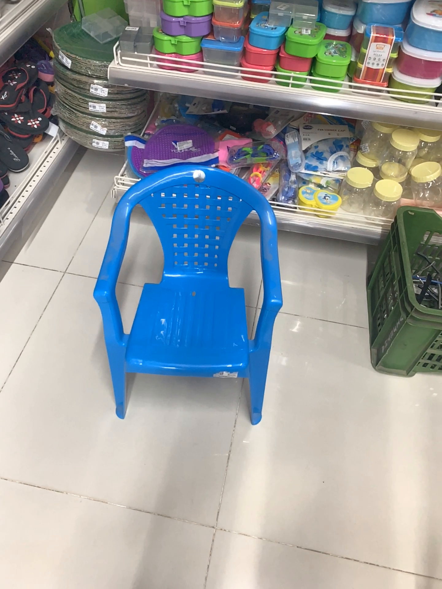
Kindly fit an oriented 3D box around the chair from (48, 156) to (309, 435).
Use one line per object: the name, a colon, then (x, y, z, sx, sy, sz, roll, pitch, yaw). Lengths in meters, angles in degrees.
chair: (-0.063, 0.030, 1.002, 0.400, 0.509, 0.361, 4, 53, 1)
